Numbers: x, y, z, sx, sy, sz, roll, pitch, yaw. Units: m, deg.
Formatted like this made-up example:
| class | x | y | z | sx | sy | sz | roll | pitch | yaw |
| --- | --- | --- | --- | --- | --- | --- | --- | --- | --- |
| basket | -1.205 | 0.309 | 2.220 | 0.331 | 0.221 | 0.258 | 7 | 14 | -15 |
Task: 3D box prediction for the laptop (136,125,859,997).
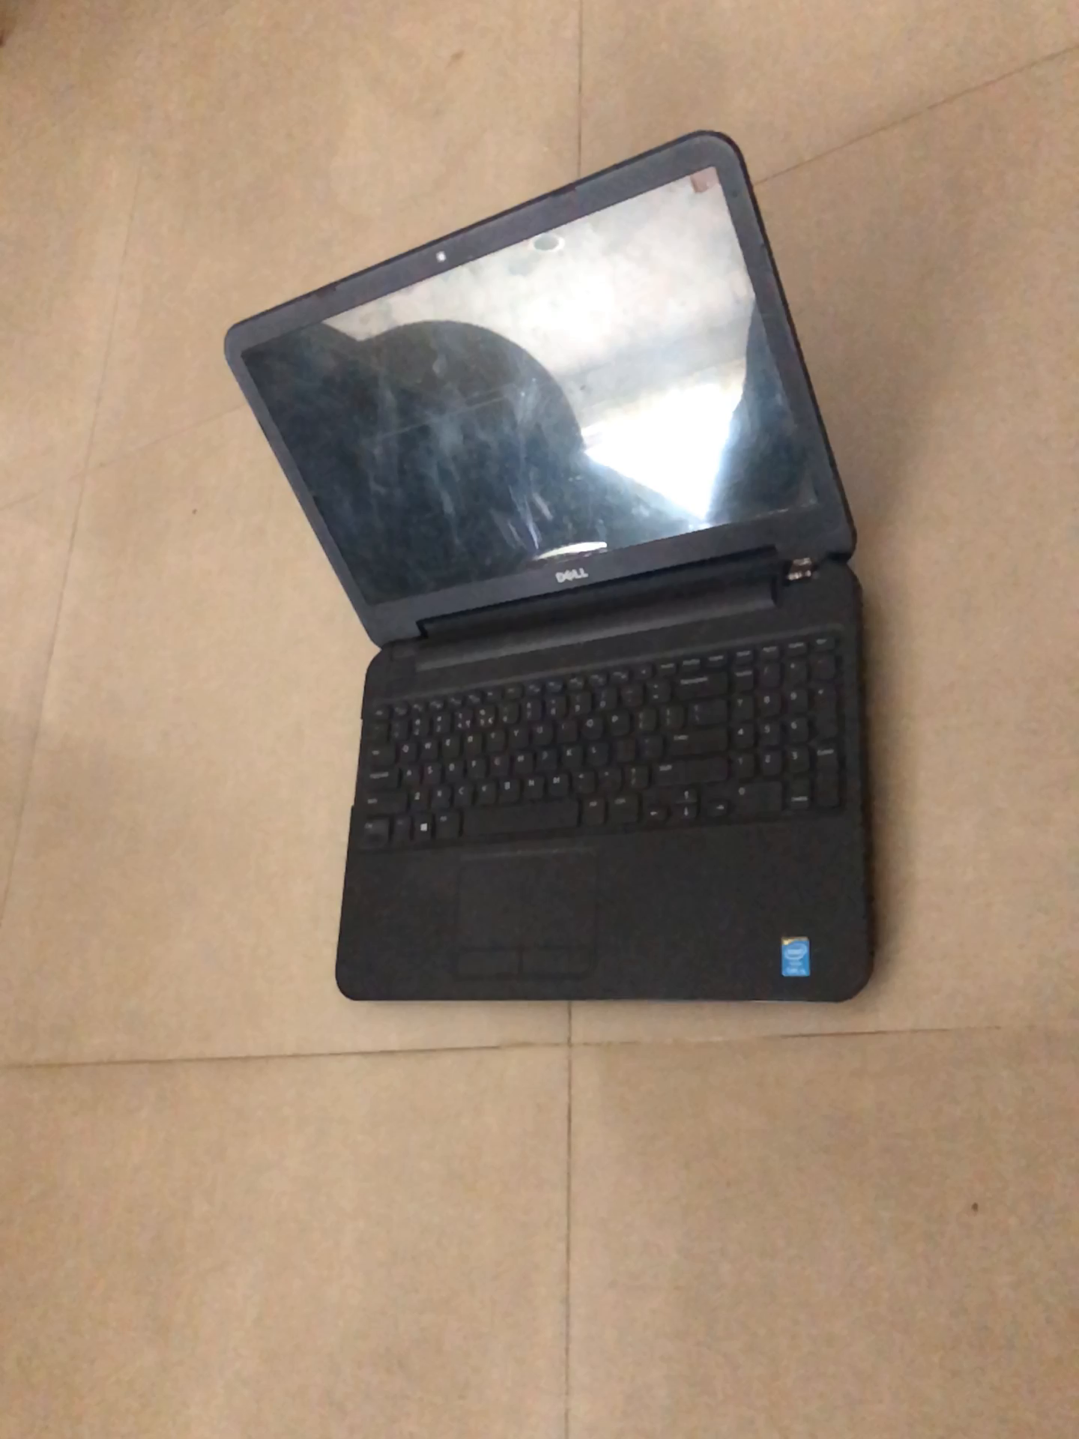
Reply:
| class | x | y | z | sx | sy | sz | roll | pitch | yaw |
| --- | --- | --- | --- | --- | --- | --- | --- | --- | --- |
| laptop | -0.016 | -0.058 | 0.691 | 0.343 | 0.178 | 0.405 | -9 | 67 | 33 |
